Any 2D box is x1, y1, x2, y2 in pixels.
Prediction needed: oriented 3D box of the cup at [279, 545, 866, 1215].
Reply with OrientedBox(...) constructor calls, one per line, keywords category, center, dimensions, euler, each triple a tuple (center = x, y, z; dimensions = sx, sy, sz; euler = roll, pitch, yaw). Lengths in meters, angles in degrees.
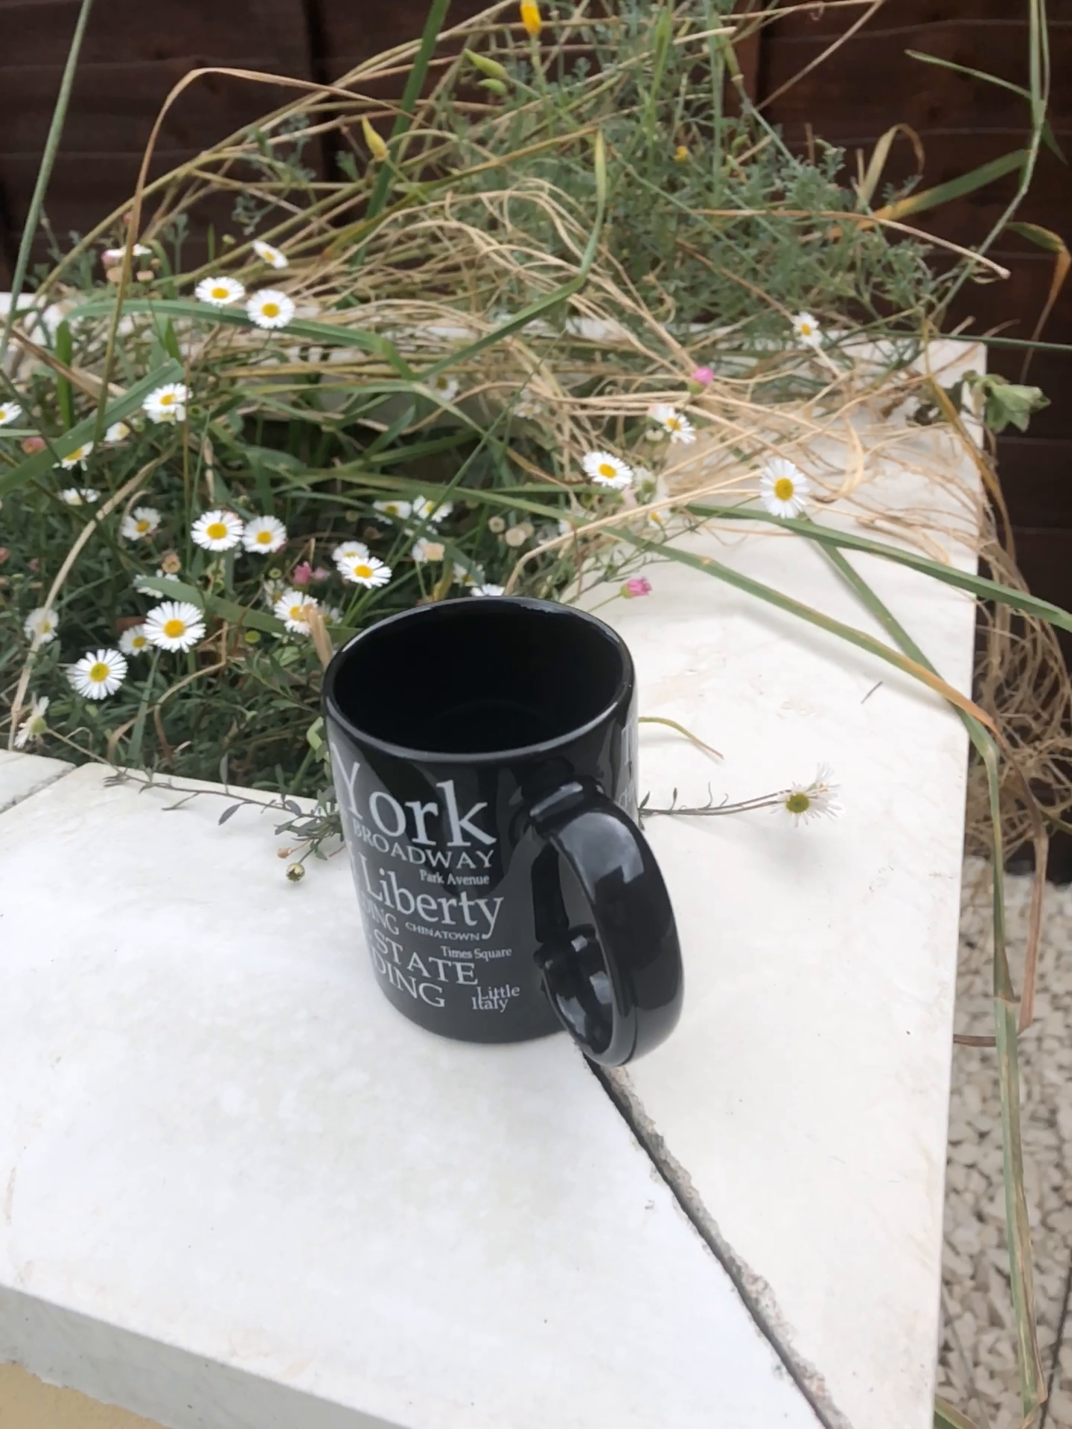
OrientedBox(category="cup", center=(0.003, 0.023, 0.222), dimensions=(0.060, 0.069, 0.090), euler=(-21, 36, -26))
